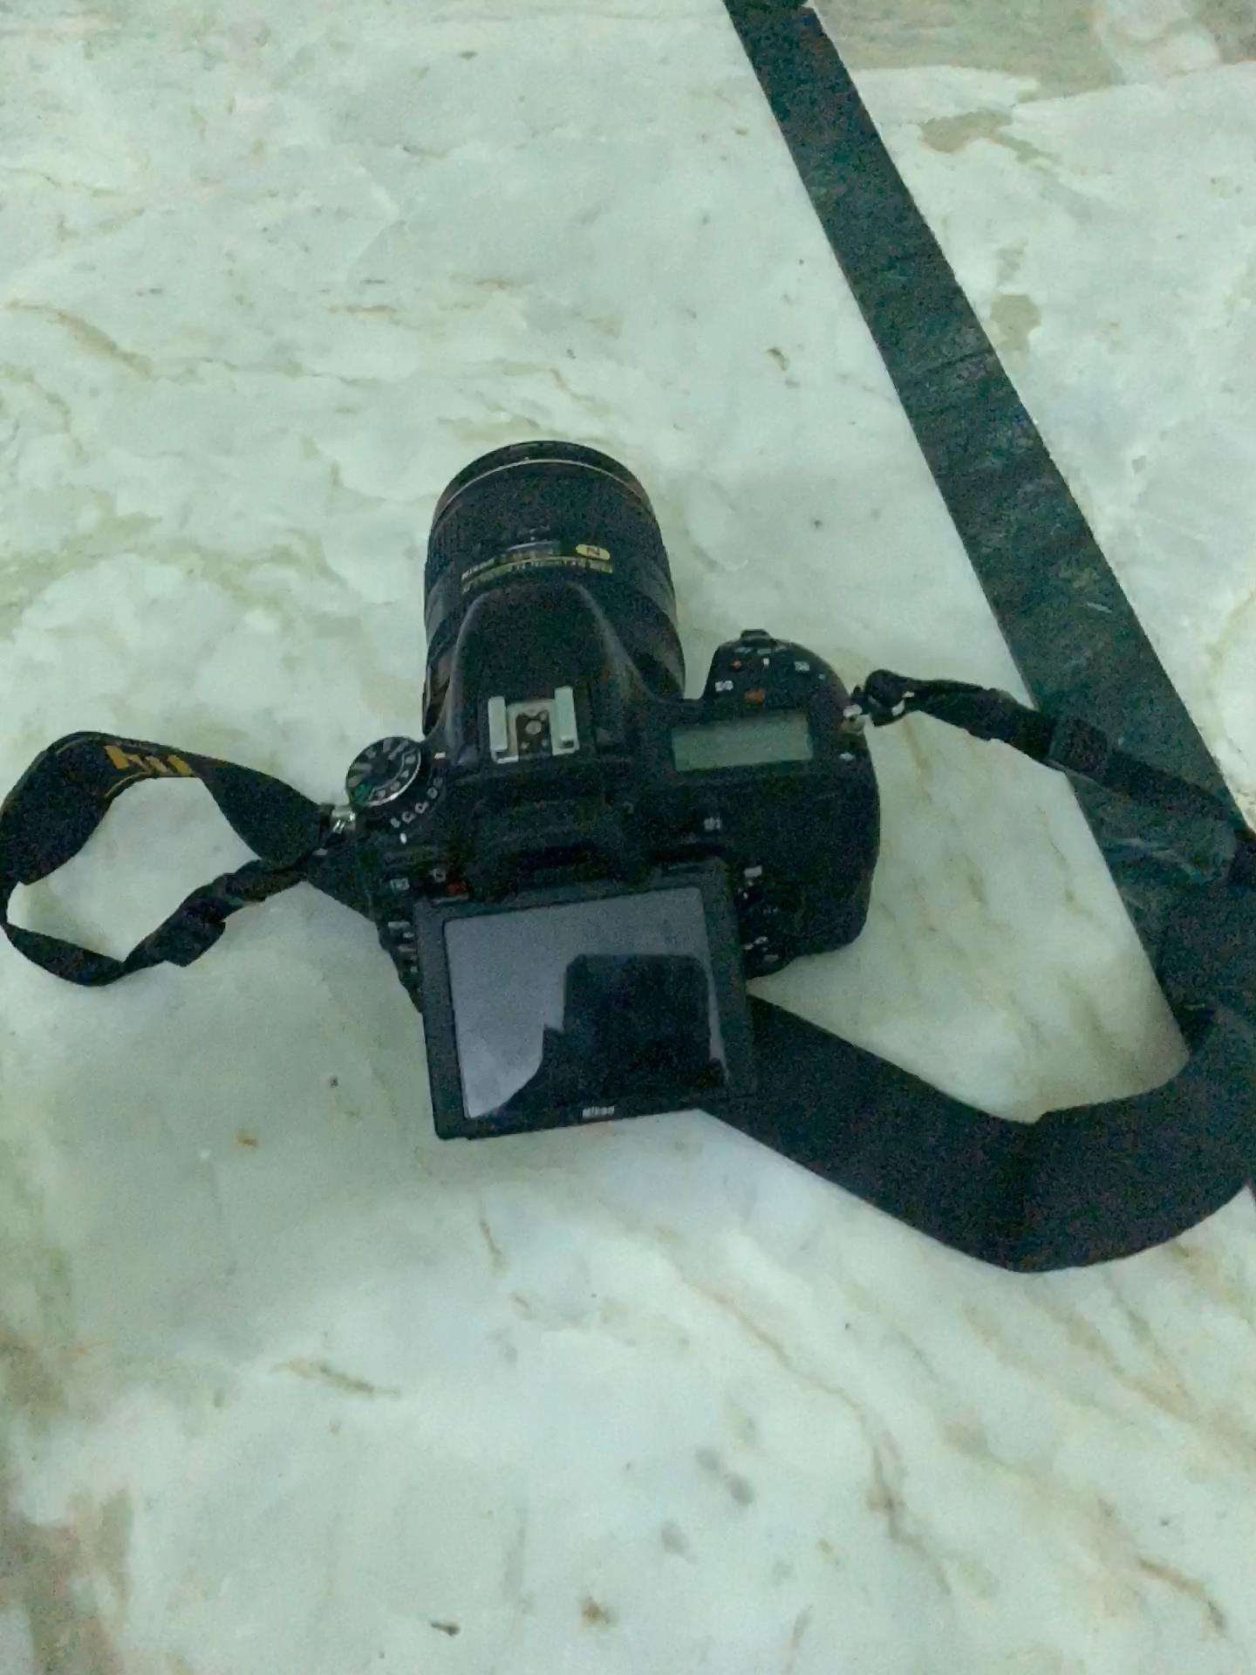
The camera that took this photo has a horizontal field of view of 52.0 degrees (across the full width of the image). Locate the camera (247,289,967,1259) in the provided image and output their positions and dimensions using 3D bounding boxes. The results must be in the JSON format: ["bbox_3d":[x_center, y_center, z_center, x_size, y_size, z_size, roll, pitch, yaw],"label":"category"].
[{"bbox_3d":[-0.011,-0.031,0.375,0.146,0.100,0.258,-8,54,2],"label":"camera"}]
